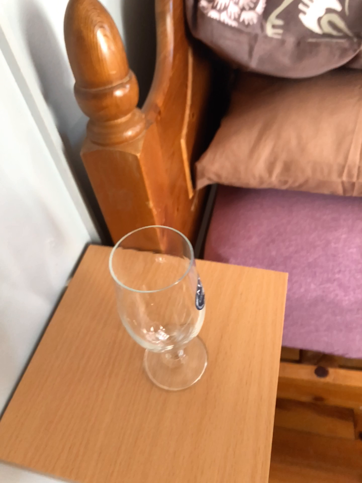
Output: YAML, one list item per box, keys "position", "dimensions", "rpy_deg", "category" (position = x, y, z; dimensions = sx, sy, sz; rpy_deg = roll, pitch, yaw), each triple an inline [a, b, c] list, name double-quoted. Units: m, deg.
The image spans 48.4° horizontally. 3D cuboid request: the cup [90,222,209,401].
- position: [-0.018, 0.068, 0.342]
  dimensions: [0.068, 0.166, 0.068]
  rpy_deg: [-4, 49, 4]
  category: "cup"
